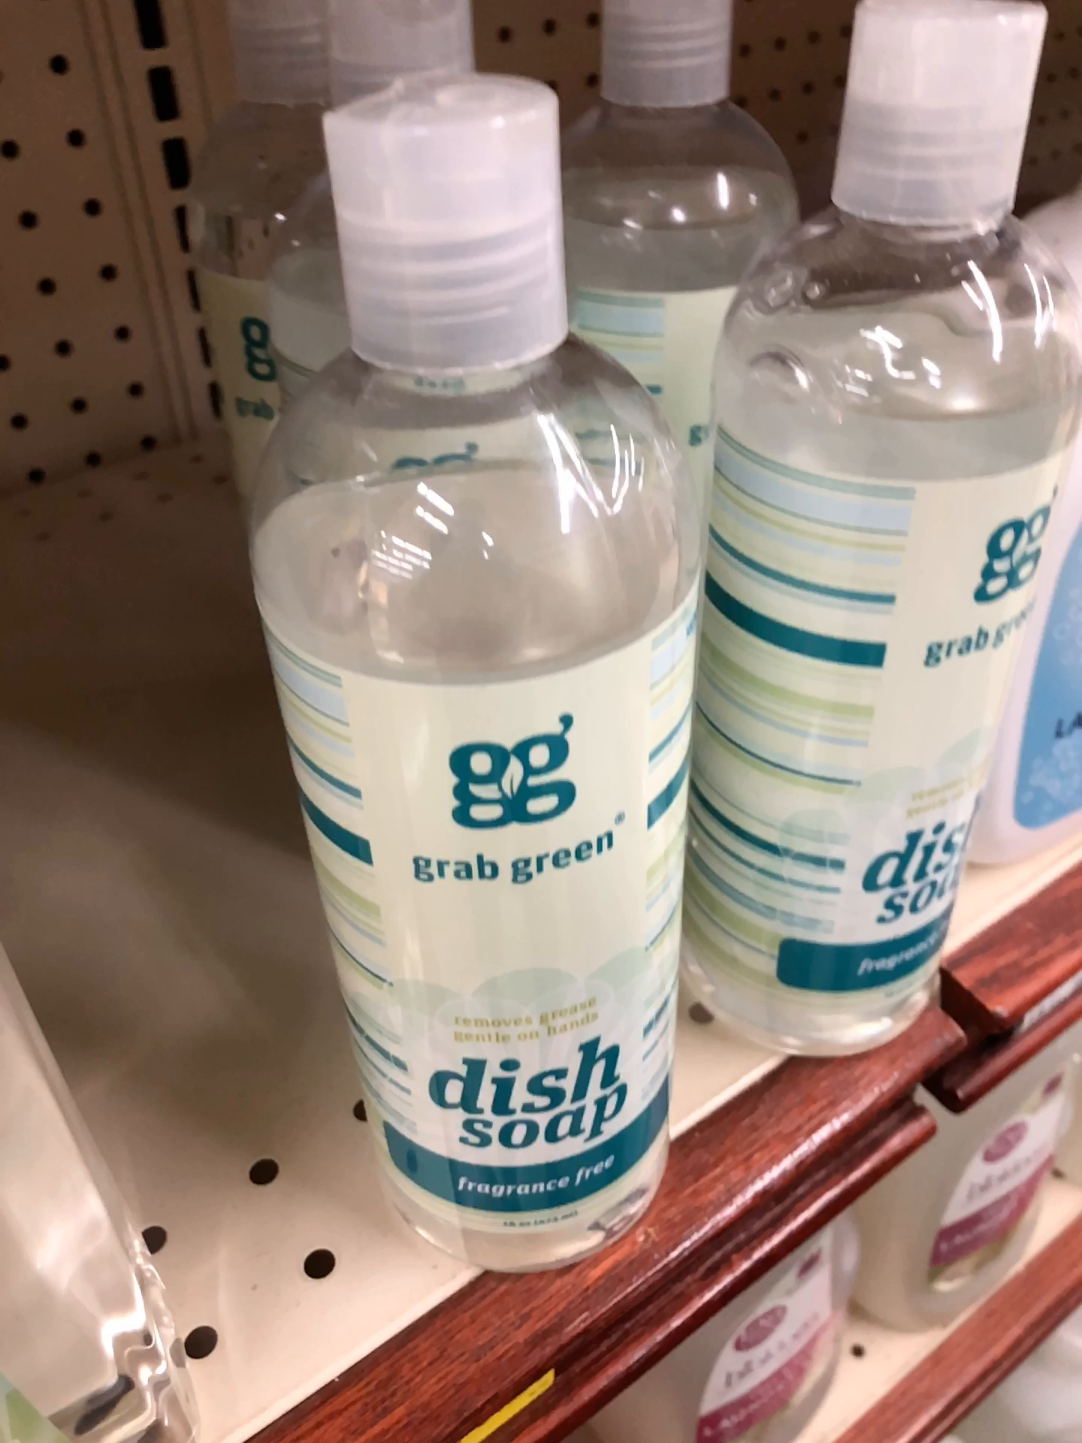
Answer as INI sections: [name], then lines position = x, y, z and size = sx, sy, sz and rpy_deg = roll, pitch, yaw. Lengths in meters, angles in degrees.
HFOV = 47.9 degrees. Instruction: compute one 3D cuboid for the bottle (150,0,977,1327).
[bottle]
position = -0.002, 0.008, 0.187
size = 0.070, 0.200, 0.060
rpy_deg = -10, 40, -11
